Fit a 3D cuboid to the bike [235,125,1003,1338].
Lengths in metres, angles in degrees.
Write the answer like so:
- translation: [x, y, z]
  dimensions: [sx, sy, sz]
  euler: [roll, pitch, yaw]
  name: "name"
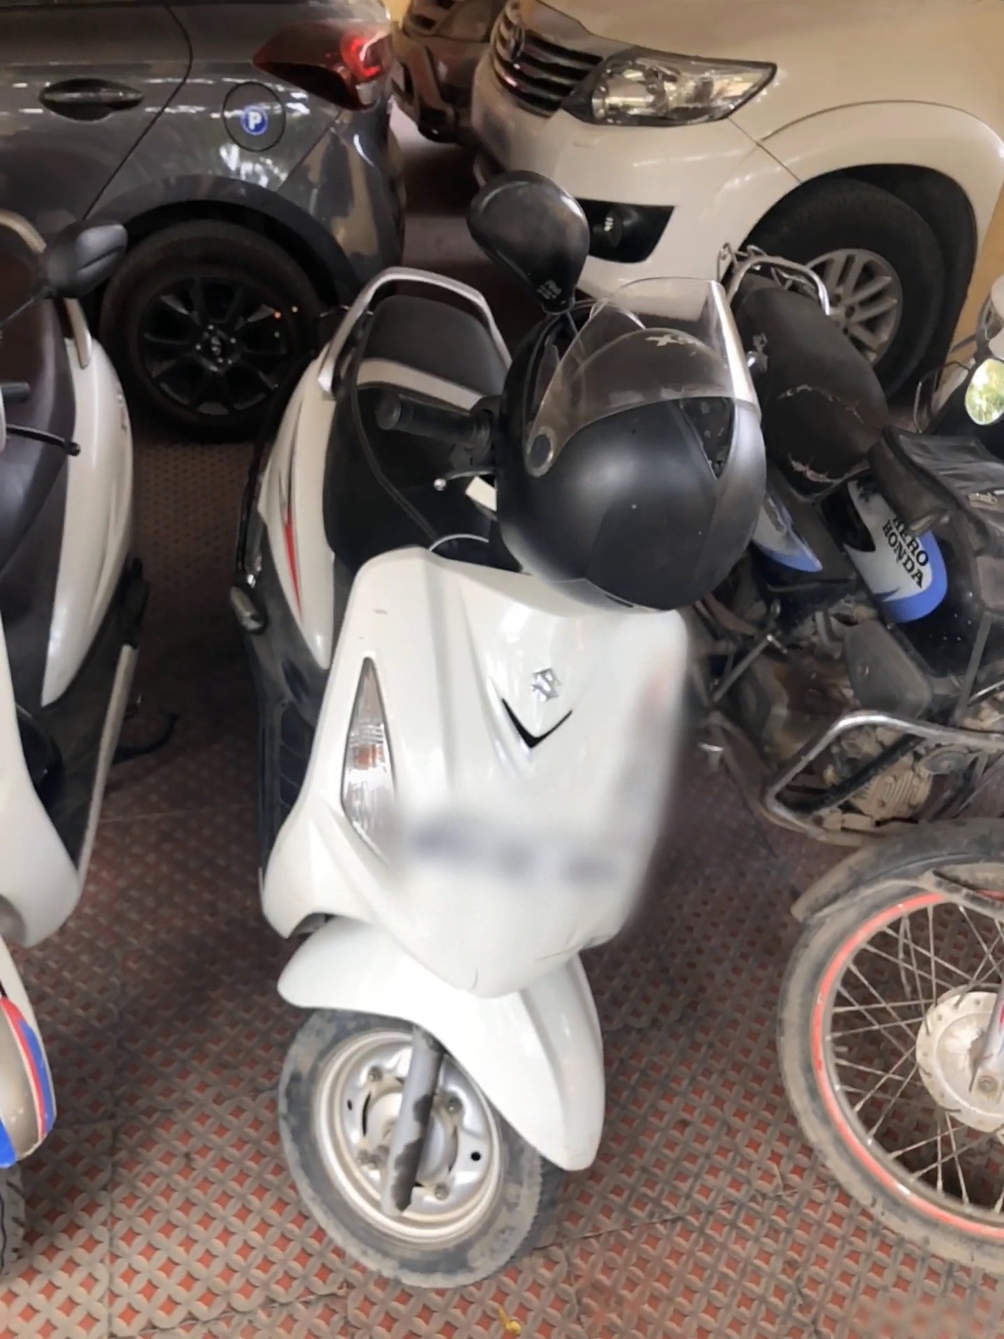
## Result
- translation: [0.133, -0.002, 1.789]
  dimensions: [0.832, 0.941, 1.514]
  euler: [-8, 49, -17]
  name: "bike"
